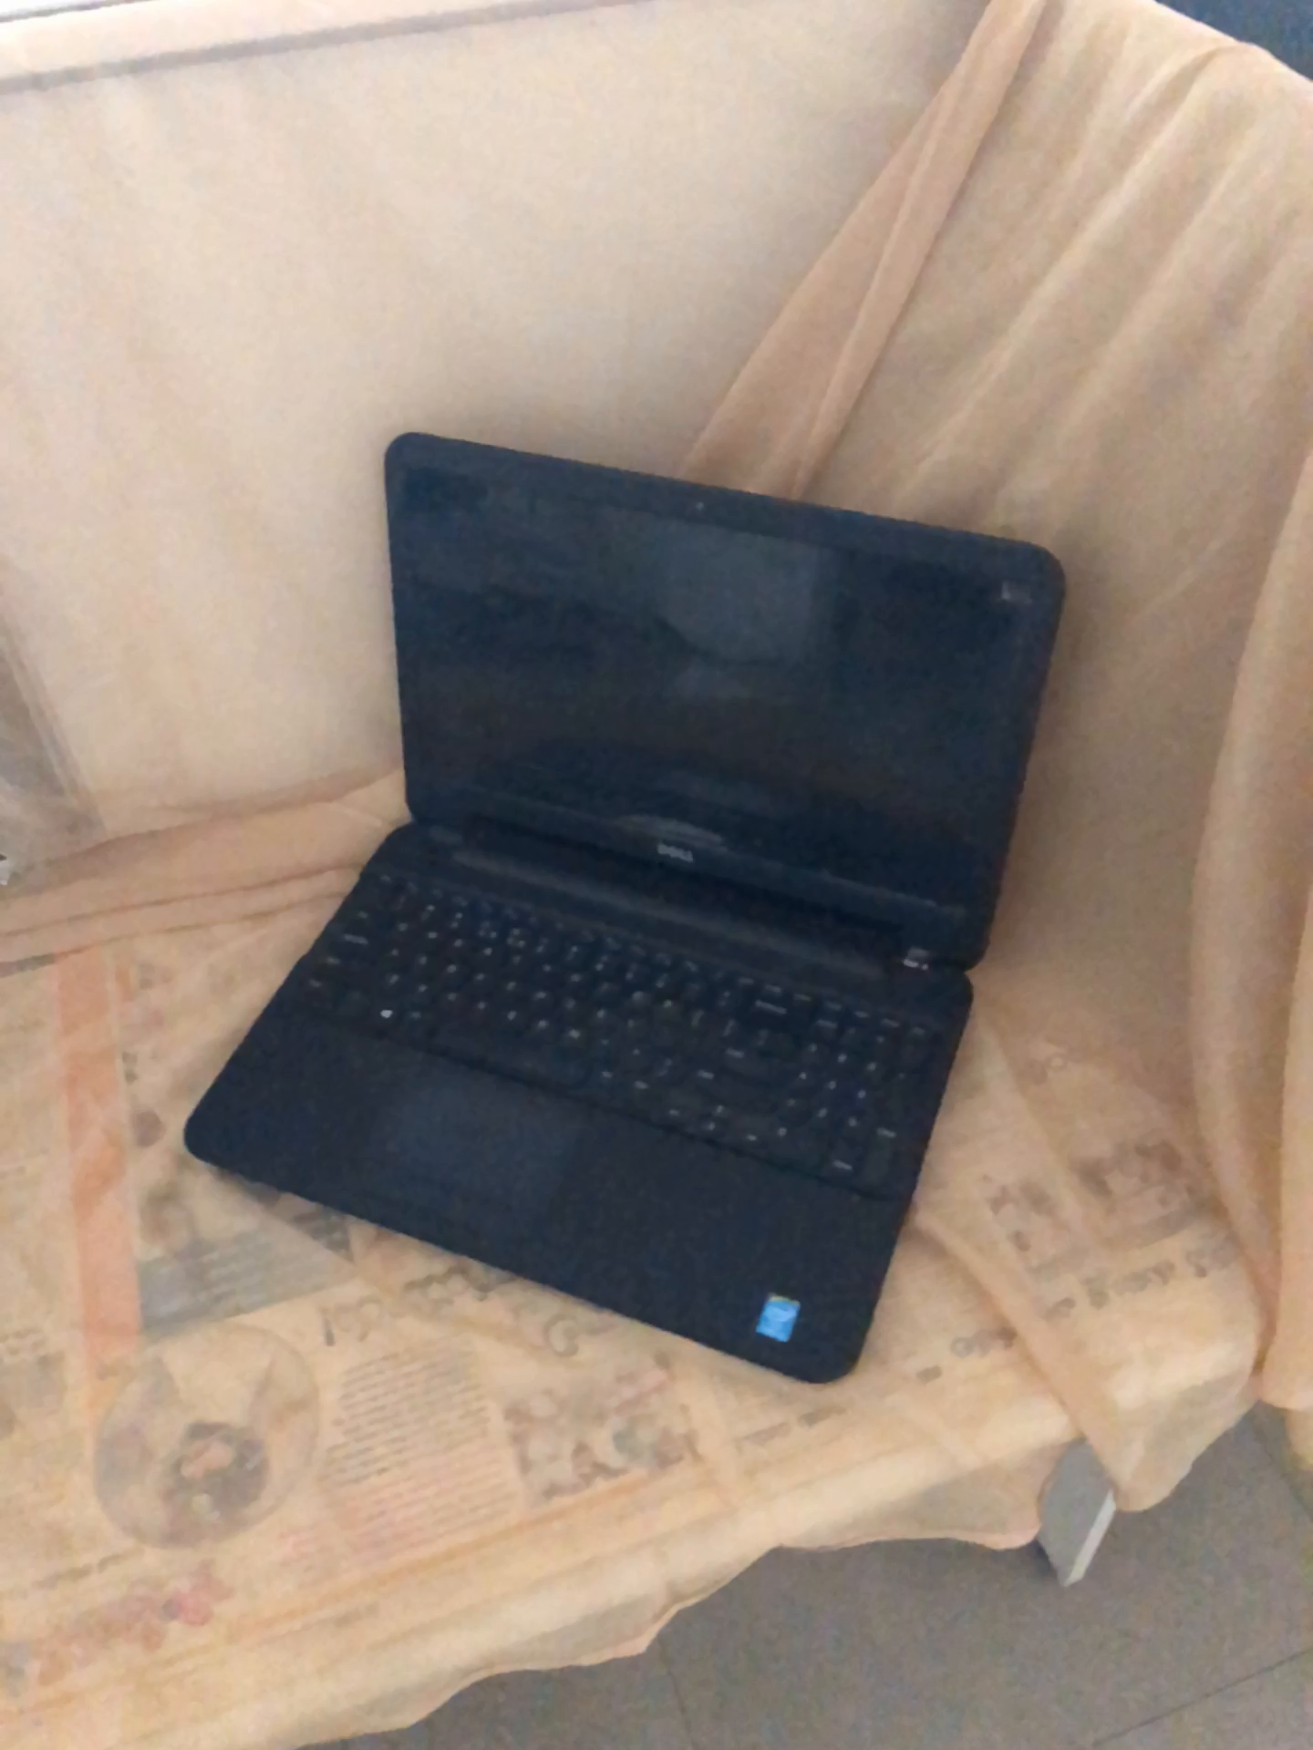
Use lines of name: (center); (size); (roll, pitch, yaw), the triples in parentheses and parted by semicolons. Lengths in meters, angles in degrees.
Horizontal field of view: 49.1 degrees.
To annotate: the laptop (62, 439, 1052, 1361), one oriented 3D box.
laptop: (-0.026, -0.008, 0.723); (0.348, 0.225, 0.307); (15, 50, 17)
